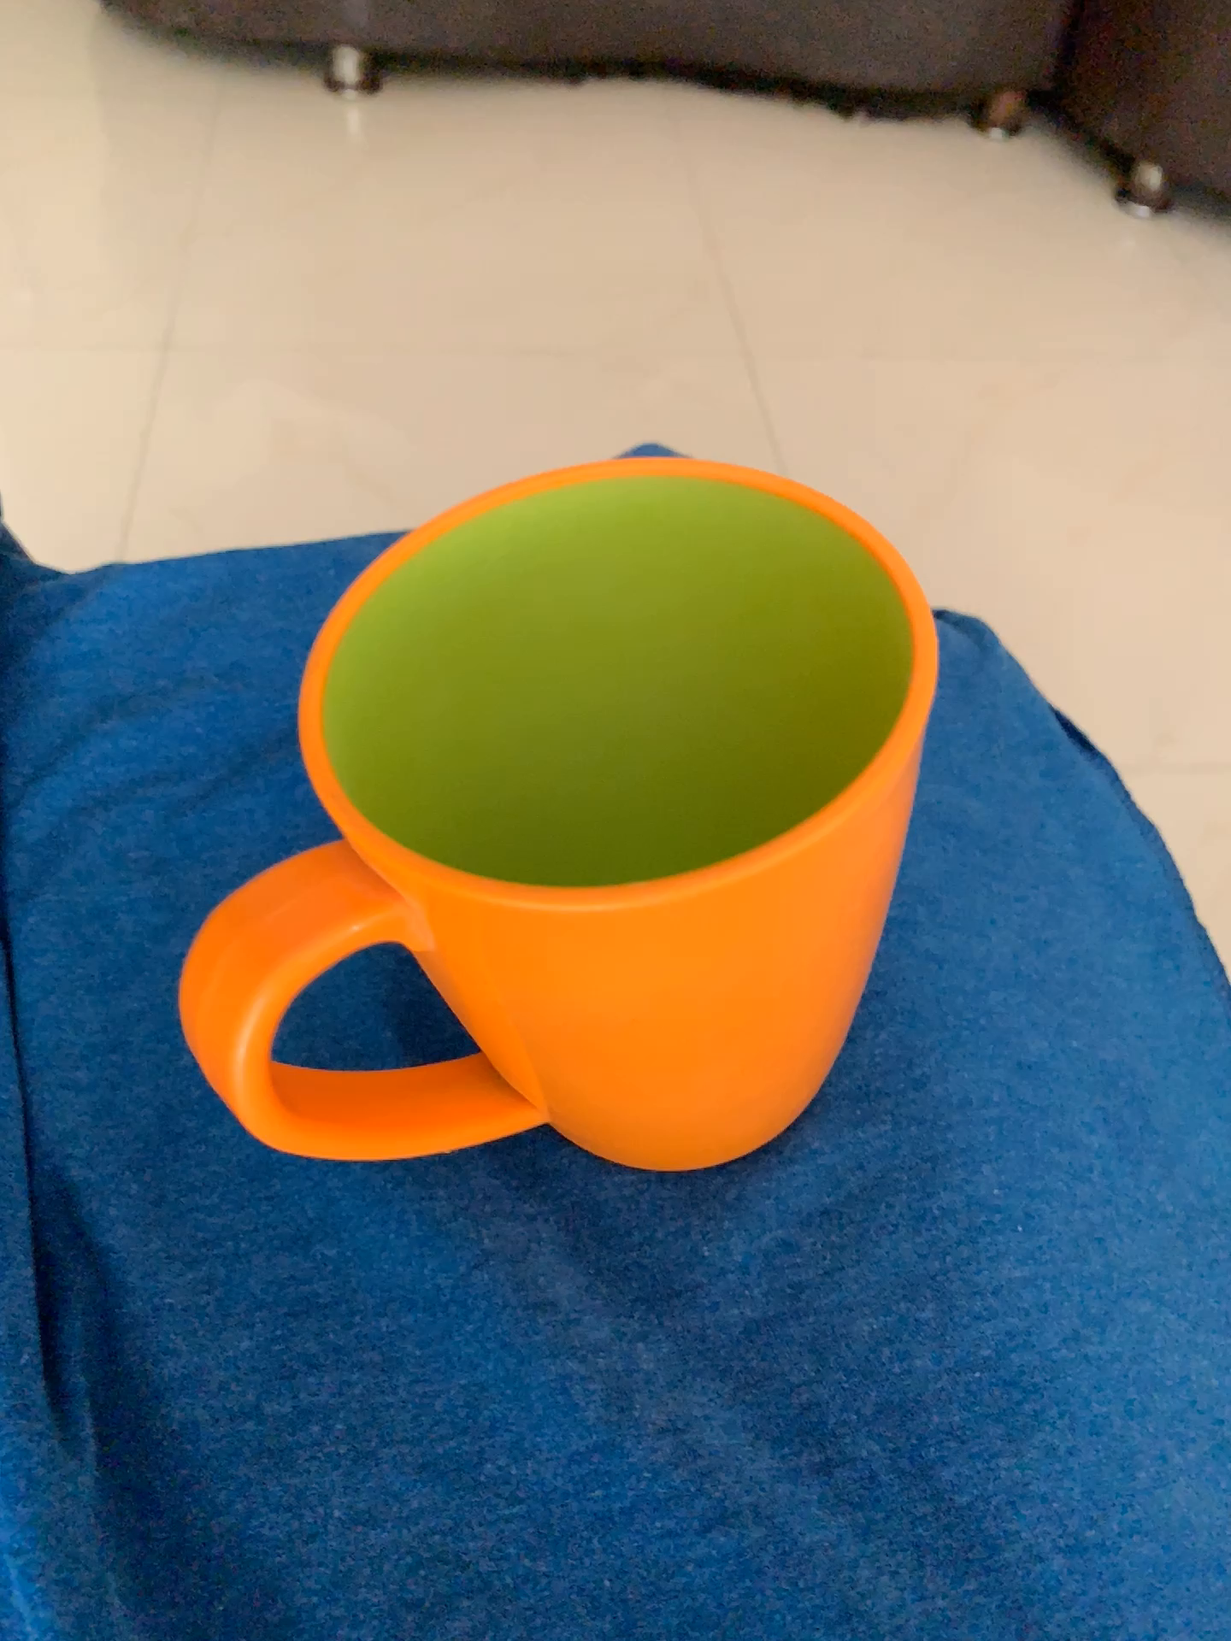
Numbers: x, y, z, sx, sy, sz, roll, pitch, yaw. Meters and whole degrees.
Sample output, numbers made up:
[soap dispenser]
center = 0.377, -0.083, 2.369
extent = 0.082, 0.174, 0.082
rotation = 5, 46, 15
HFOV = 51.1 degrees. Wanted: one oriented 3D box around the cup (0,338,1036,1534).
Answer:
[cup]
center = -0.014, 0.010, 0.192
extent = 0.100, 0.089, 0.121
rotation = 25, 62, 30
